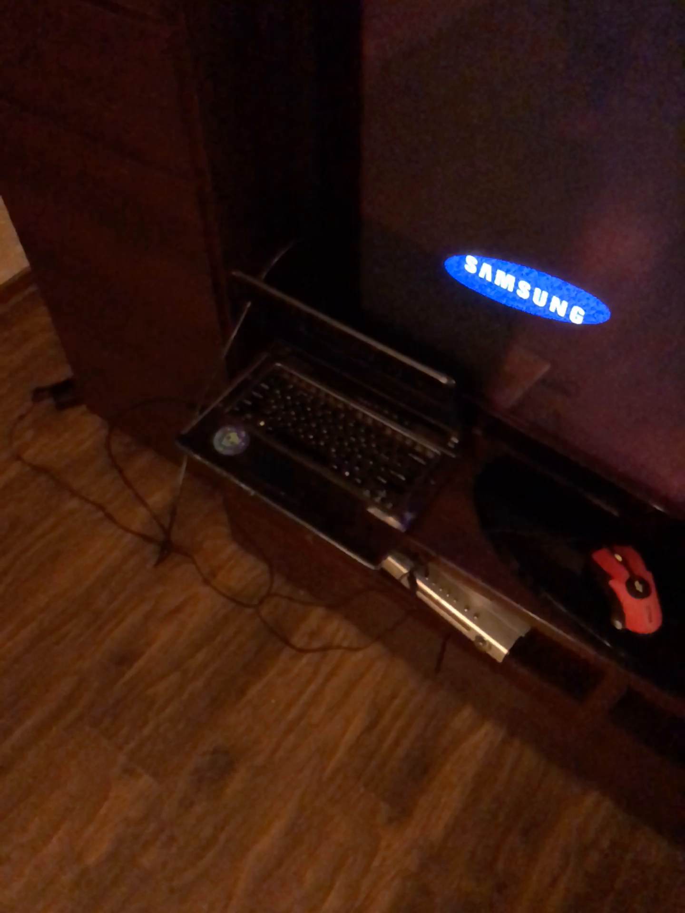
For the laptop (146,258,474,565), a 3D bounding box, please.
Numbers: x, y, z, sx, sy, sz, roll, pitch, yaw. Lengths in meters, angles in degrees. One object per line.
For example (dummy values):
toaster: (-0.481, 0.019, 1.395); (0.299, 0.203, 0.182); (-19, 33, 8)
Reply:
laptop: (-0.041, -0.064, 0.971); (0.336, 0.183, 0.200); (30, 58, 20)
